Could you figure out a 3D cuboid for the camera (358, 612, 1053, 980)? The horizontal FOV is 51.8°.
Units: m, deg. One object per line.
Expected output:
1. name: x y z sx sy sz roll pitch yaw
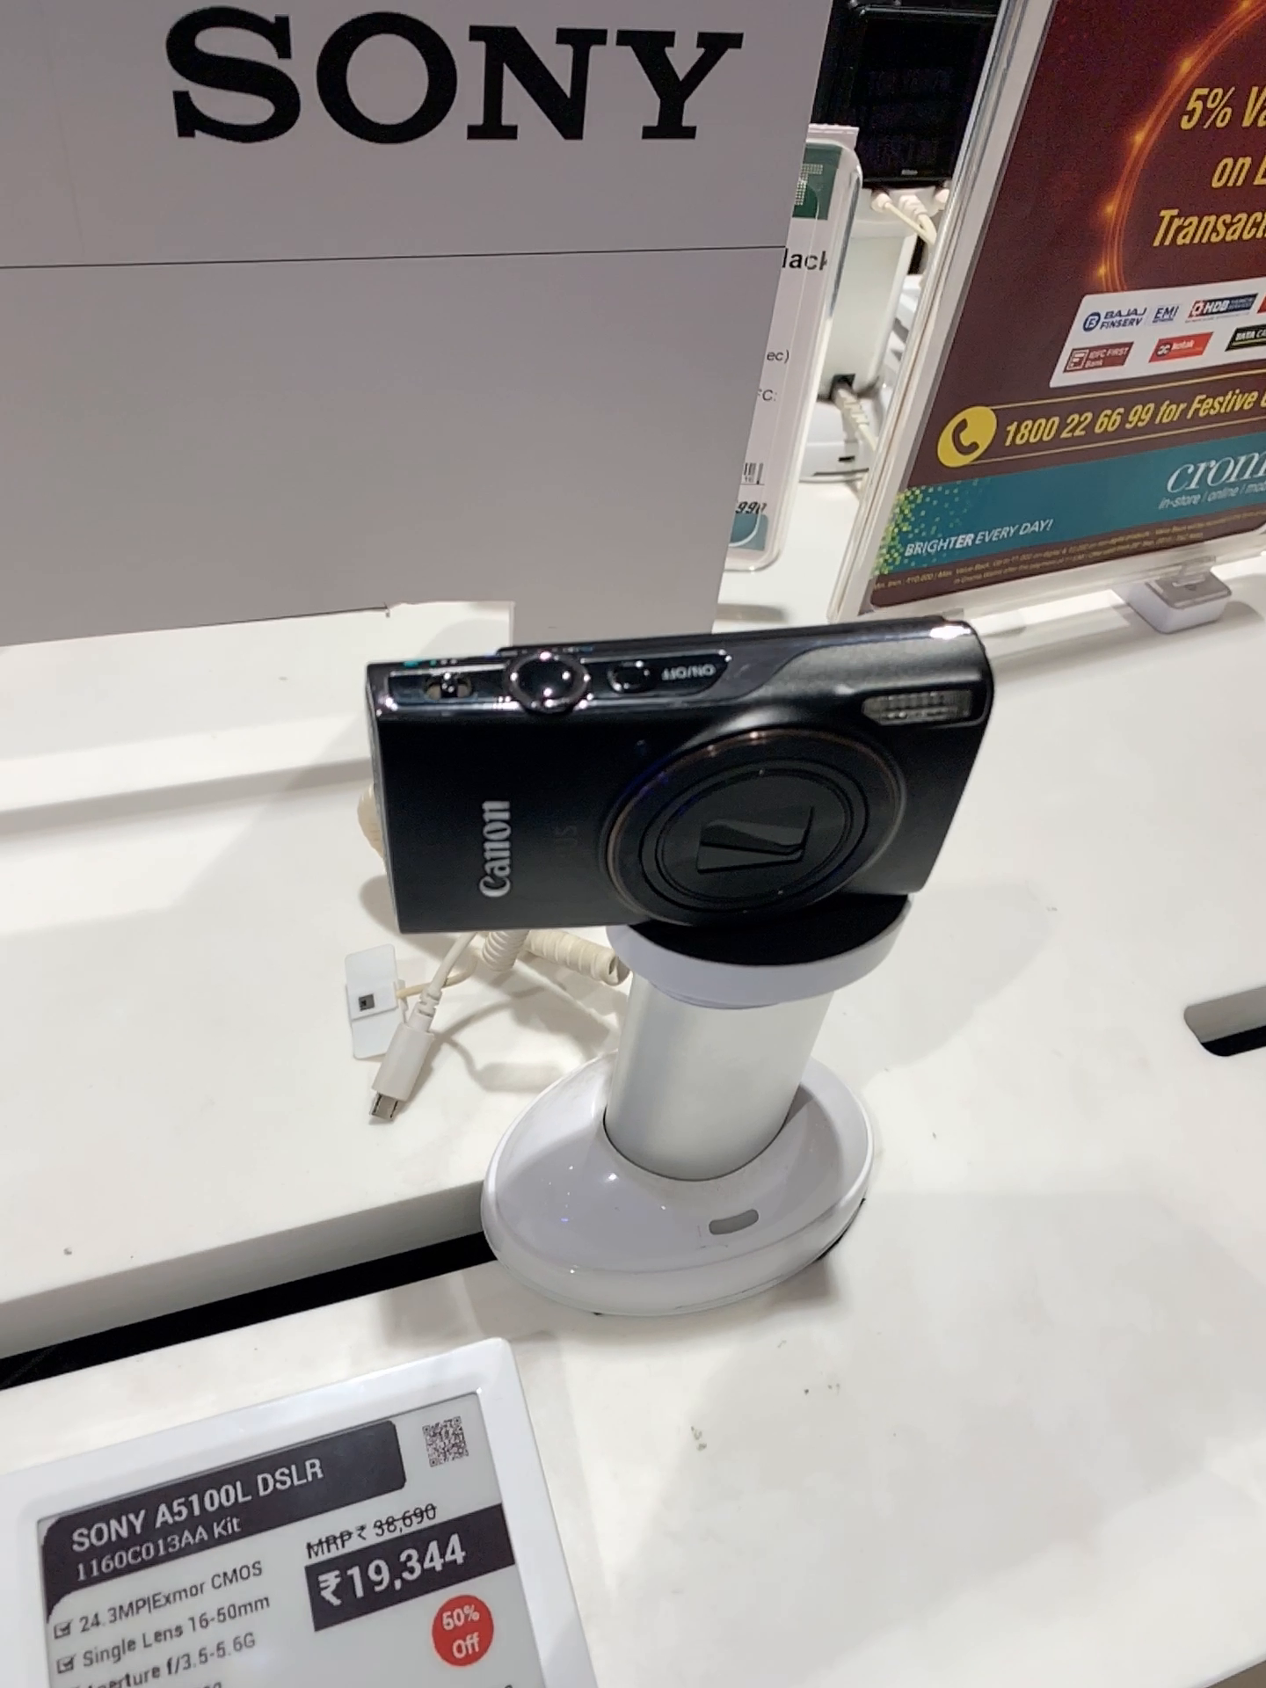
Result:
1. camera: 0.009 -0.008 0.206 0.100 0.050 0.020 -6 49 -16
